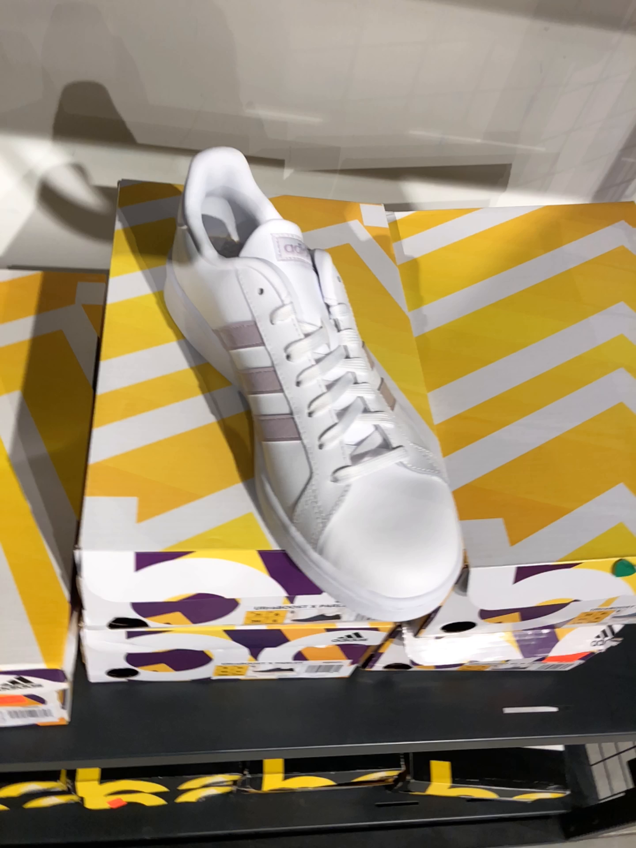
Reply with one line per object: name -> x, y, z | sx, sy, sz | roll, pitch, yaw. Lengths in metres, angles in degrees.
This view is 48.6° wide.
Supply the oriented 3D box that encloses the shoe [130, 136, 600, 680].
shoe -> 0.001, -0.030, 0.390 | 0.110, 0.090, 0.291 | -18, 60, -25
